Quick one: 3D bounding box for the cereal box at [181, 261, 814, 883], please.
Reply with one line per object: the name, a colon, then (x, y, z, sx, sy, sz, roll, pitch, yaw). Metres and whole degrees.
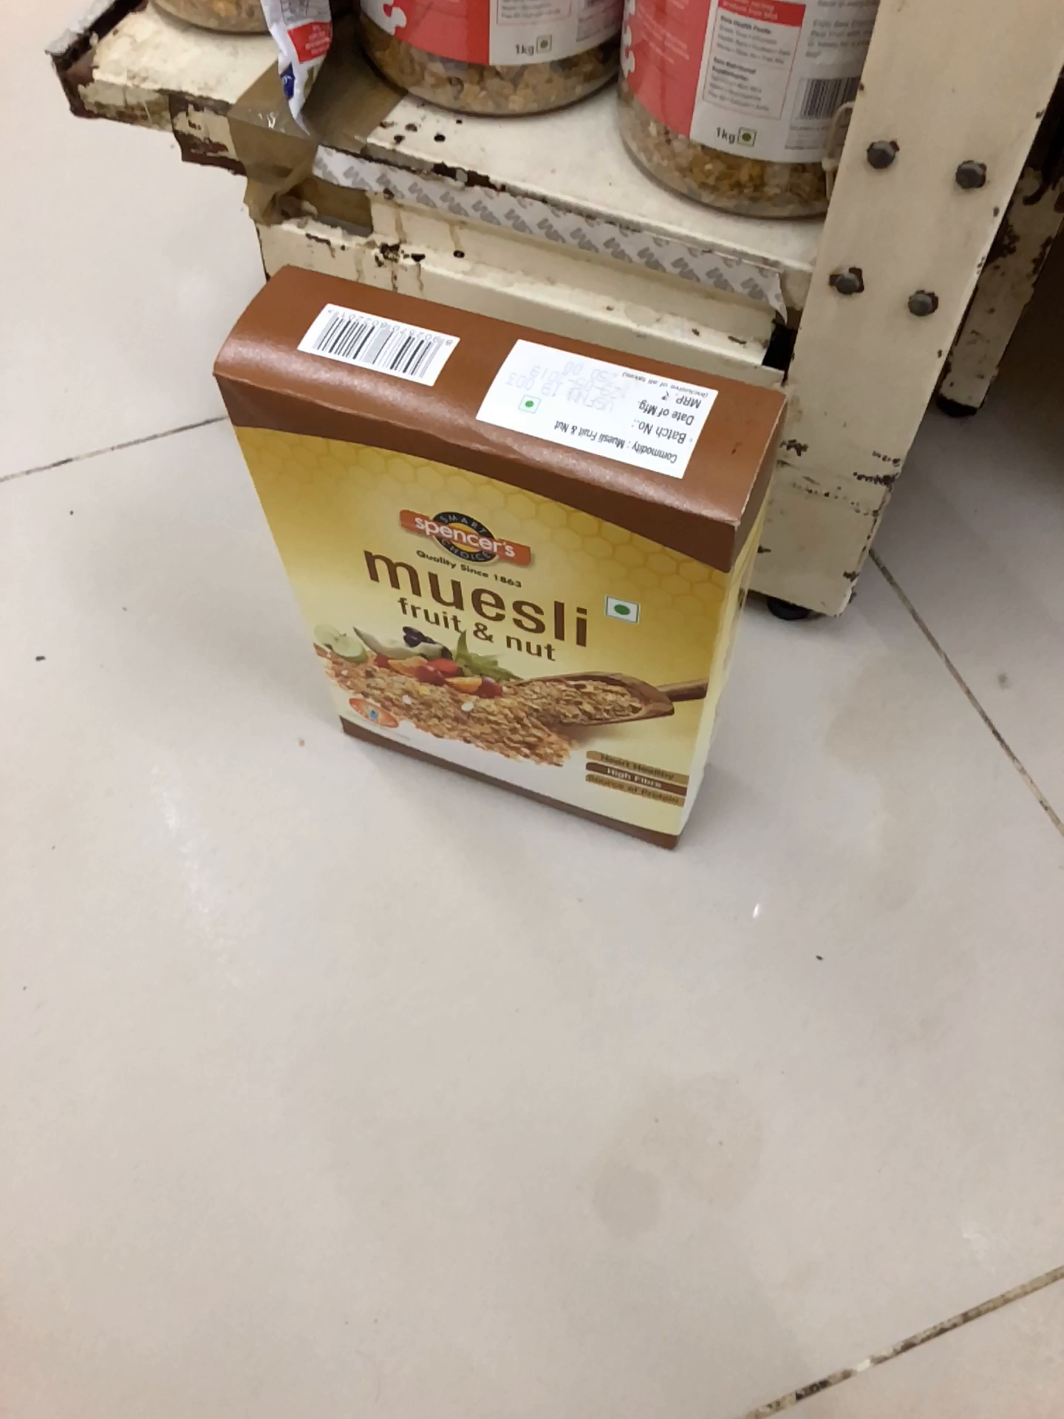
cereal box: (-0.010, -0.037, 0.469, 0.190, 0.239, 0.060, 19, 60, 12)
